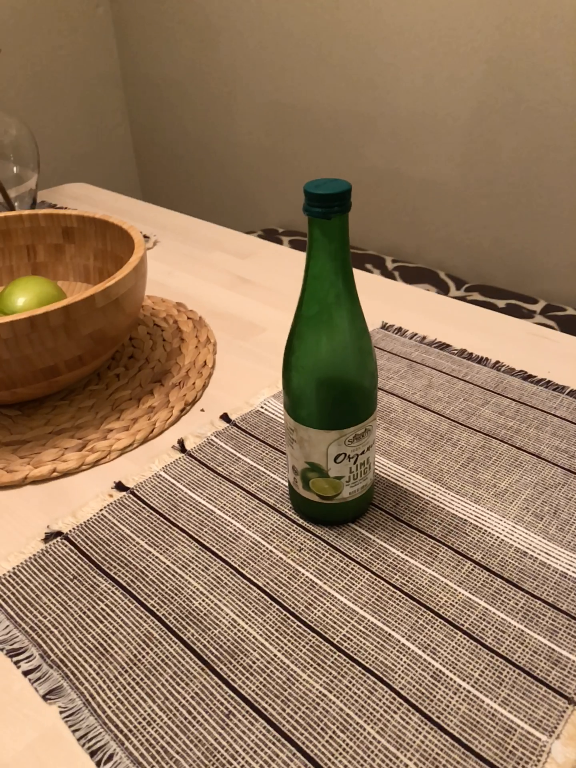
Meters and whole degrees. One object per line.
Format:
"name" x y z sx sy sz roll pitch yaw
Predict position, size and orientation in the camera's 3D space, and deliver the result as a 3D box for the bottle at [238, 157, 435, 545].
"bottle" 0.031 -0.017 0.428 0.080 0.236 0.081 -2 33 1
